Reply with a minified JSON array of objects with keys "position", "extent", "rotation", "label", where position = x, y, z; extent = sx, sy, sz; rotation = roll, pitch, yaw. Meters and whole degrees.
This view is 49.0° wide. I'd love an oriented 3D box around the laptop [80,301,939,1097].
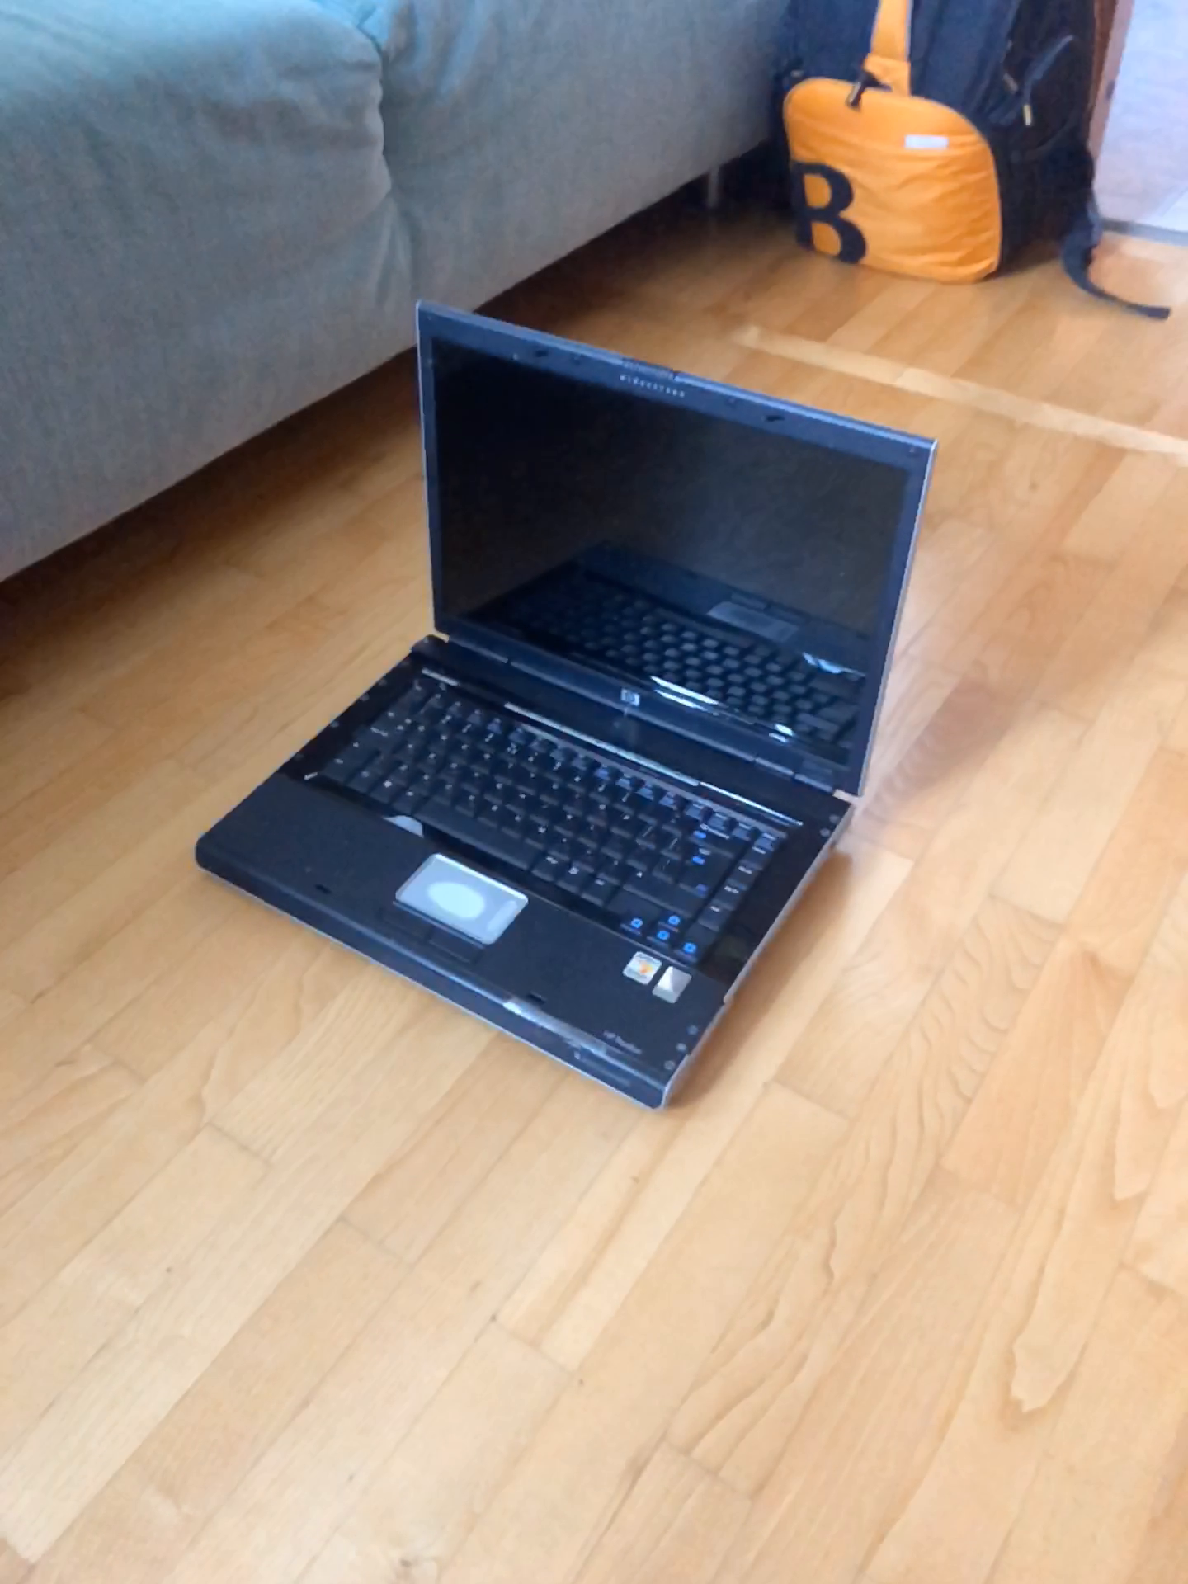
[{"position":[-0.039,-0.080,0.805],"extent":[0.363,0.254,0.307],"rotation":[23,50,23],"label":"laptop"}]
